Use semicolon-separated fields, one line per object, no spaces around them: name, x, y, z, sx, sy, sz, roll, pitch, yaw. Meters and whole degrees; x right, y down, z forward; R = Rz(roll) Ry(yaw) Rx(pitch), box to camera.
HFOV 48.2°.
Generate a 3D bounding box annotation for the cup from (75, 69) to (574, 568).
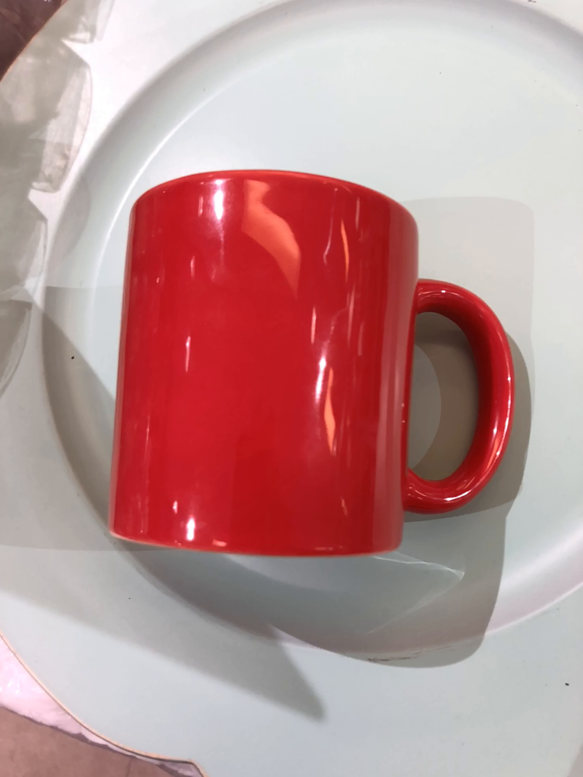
cup;0.006;-0.009;0.171;0.110;0.060;0.100;2;82;-17
